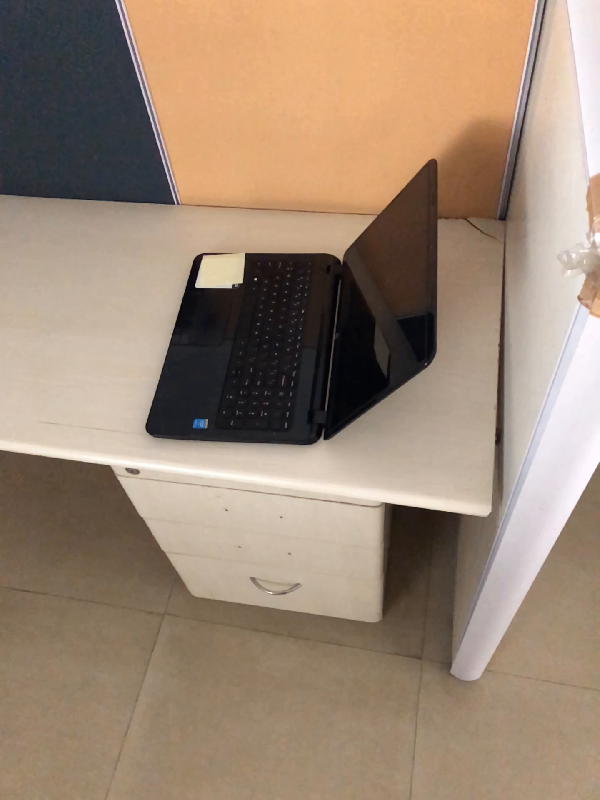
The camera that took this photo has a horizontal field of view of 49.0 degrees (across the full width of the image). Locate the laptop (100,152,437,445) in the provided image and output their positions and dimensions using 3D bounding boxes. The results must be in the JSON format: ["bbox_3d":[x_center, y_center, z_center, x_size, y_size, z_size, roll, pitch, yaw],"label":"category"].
[{"bbox_3d":[-0.013,-0.166,0.994,0.415,0.204,0.393,3,55,8],"label":"laptop"}]
